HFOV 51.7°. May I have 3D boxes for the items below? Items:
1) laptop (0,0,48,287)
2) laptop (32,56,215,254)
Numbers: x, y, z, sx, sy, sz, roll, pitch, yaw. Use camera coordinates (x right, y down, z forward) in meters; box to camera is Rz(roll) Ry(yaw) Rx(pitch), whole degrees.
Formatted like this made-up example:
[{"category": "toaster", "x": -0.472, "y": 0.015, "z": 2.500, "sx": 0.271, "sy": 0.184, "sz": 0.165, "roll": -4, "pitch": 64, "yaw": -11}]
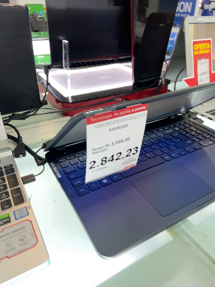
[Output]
[{"category": "laptop", "x": -0.308, "y": -0.009, "z": 0.233, "sx": 0.369, "sy": 0.240, "sz": 0.332, "roll": -16, "pitch": 36, "yaw": -25}, {"category": "laptop", "x": 0.097, "y": -0.037, "z": 0.380, "sx": 0.366, "sy": 0.146, "sz": 0.231, "roll": -17, "pitch": 35, "yaw": -26}]
